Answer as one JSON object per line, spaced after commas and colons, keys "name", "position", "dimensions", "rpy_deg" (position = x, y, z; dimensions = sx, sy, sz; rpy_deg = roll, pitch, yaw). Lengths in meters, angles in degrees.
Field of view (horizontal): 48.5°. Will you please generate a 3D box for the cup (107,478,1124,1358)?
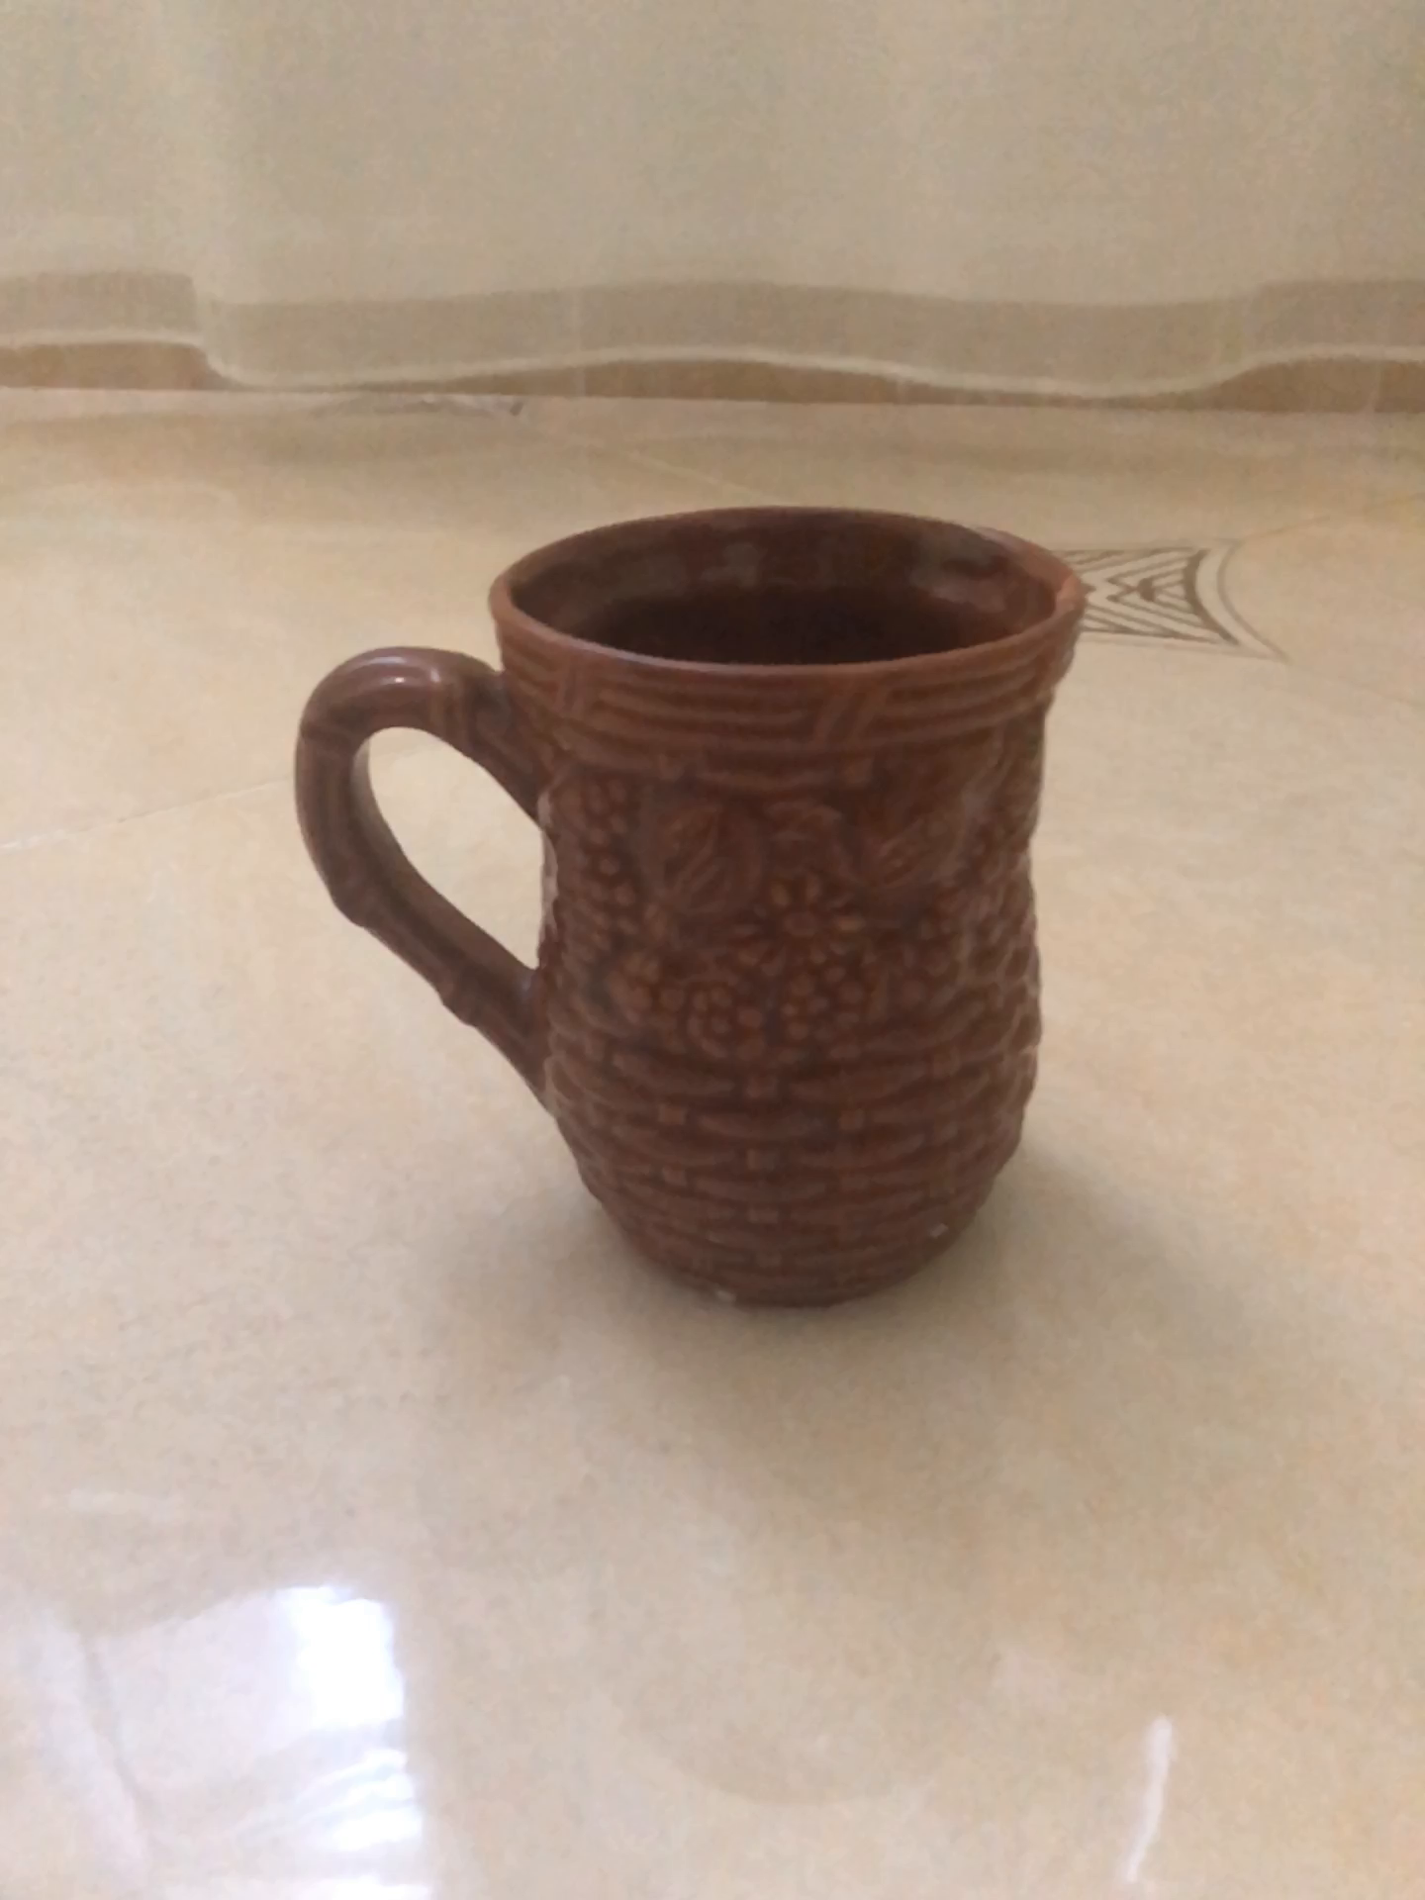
{"name": "cup", "position": [-0.005, -0.011, 0.211], "dimensions": [0.104, 0.081, 0.073], "rpy_deg": [7, 30, 16]}
